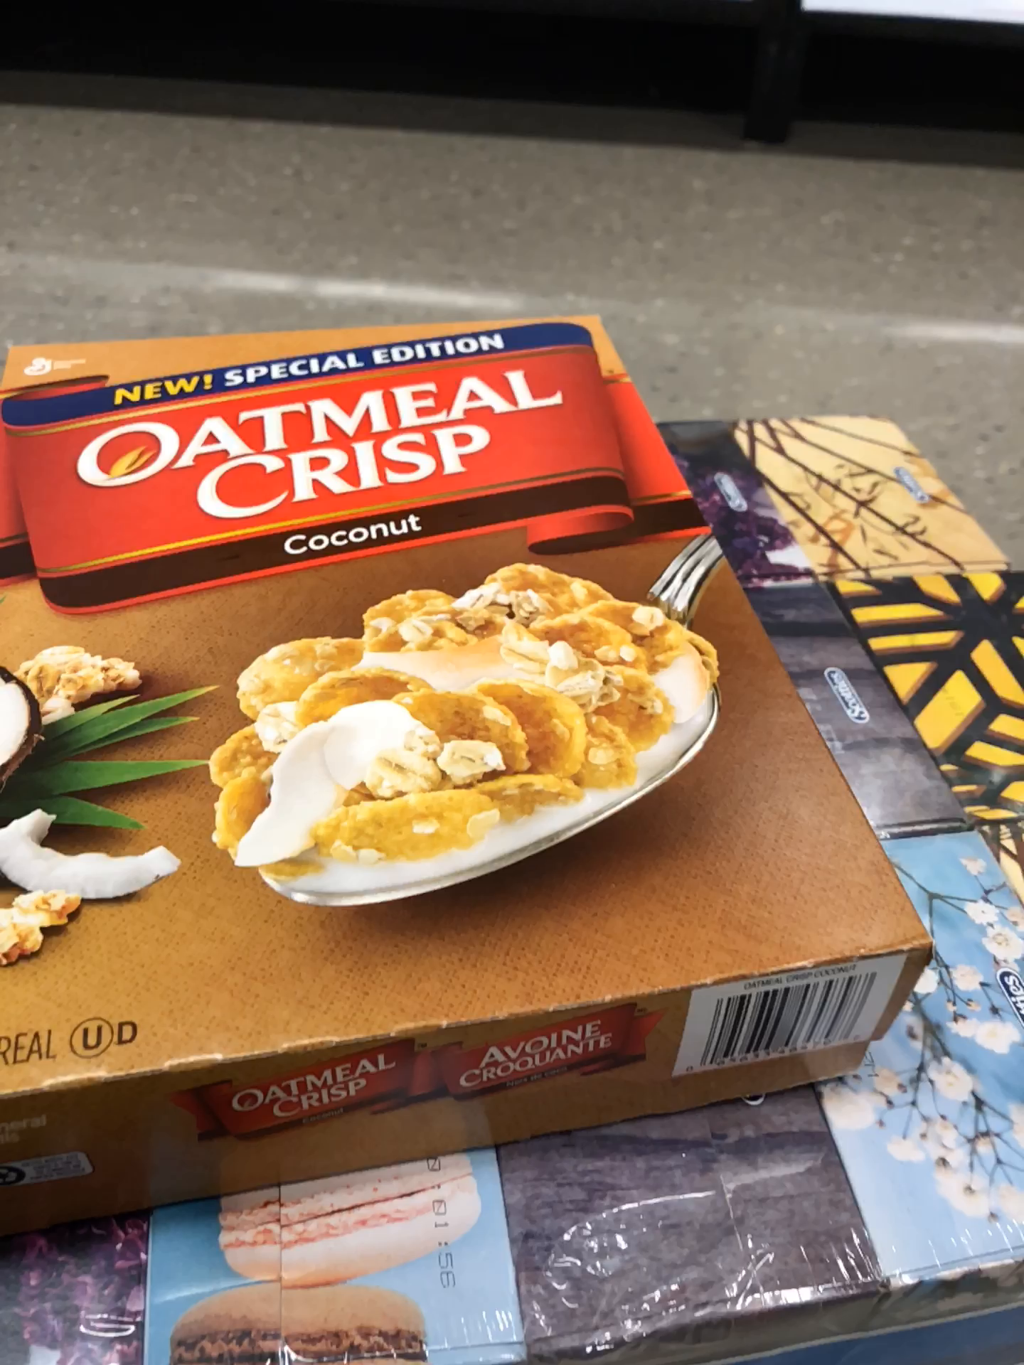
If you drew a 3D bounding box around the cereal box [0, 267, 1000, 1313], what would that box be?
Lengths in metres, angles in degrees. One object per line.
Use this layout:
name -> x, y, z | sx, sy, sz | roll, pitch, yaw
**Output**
cereal box -> -0.048, -0.018, 0.304 | 0.210, 0.060, 0.291 | -8, 40, -6
